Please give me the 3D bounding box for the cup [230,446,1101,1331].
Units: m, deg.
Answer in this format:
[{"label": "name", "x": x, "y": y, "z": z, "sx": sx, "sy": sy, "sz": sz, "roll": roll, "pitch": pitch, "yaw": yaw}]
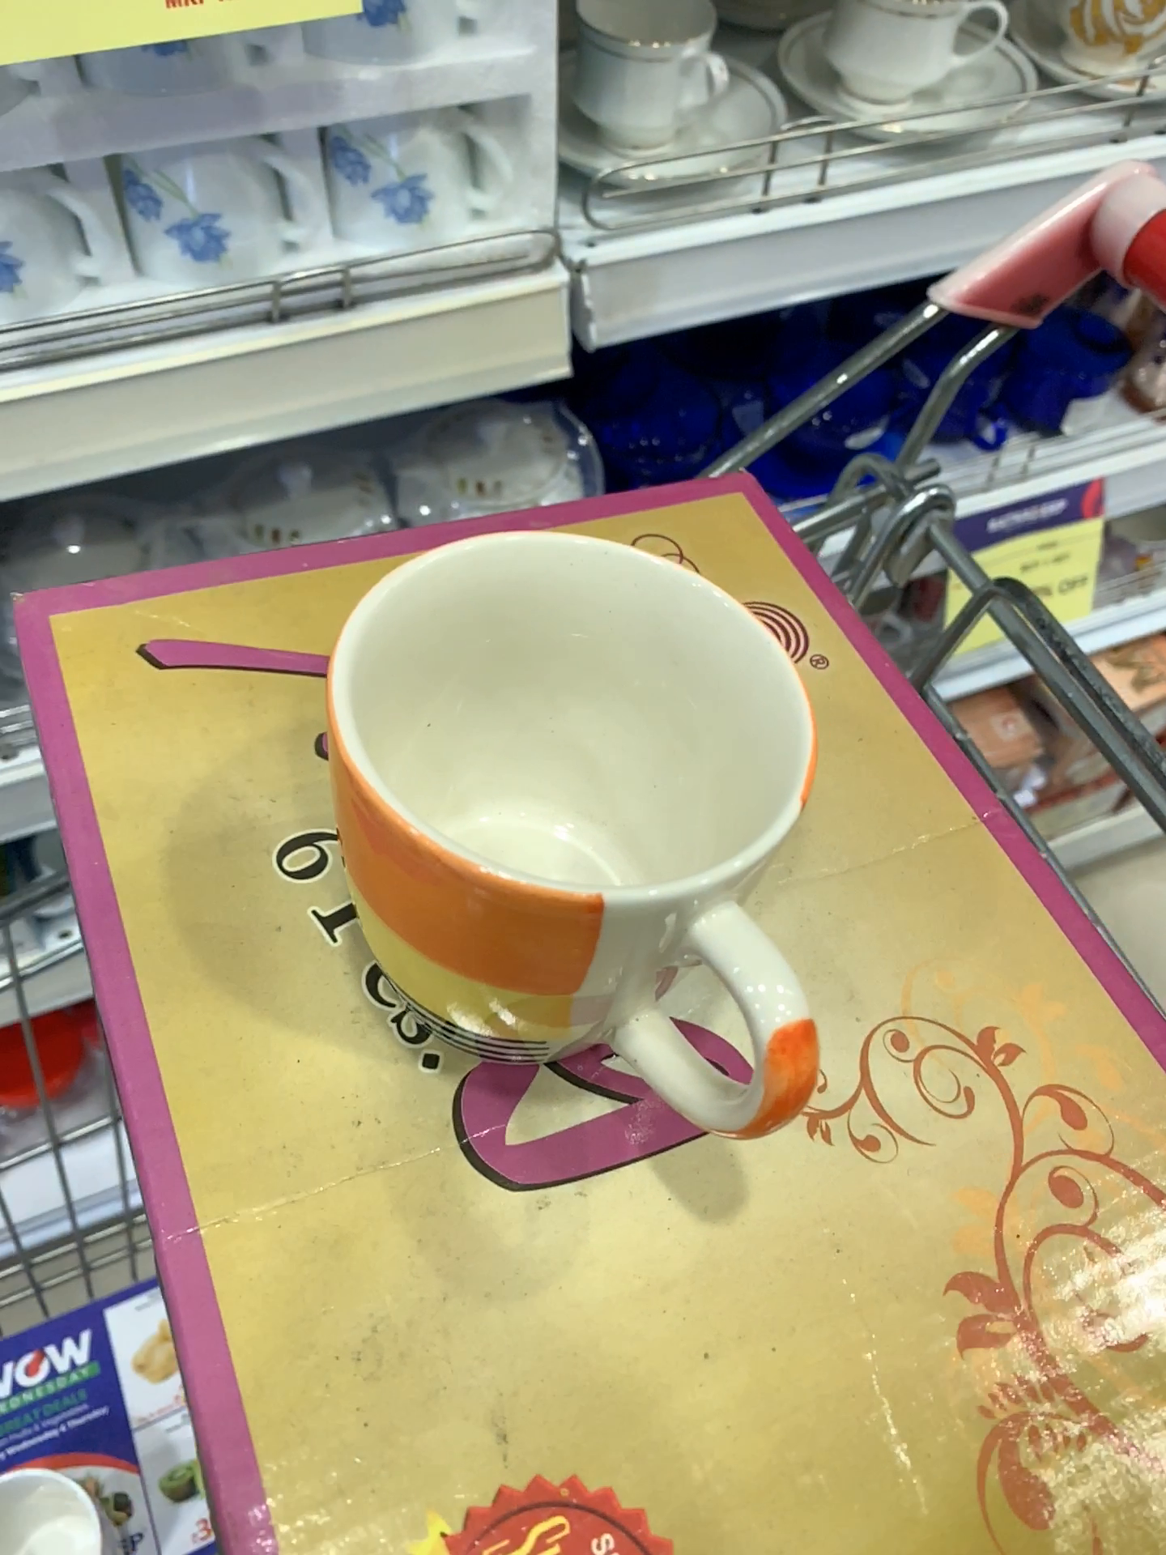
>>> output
[{"label": "cup", "x": 0.004, "y": 0.012, "z": 0.186, "sx": 0.080, "sy": 0.070, "sz": 0.090, "roll": -22, "pitch": 58, "yaw": -27}]
